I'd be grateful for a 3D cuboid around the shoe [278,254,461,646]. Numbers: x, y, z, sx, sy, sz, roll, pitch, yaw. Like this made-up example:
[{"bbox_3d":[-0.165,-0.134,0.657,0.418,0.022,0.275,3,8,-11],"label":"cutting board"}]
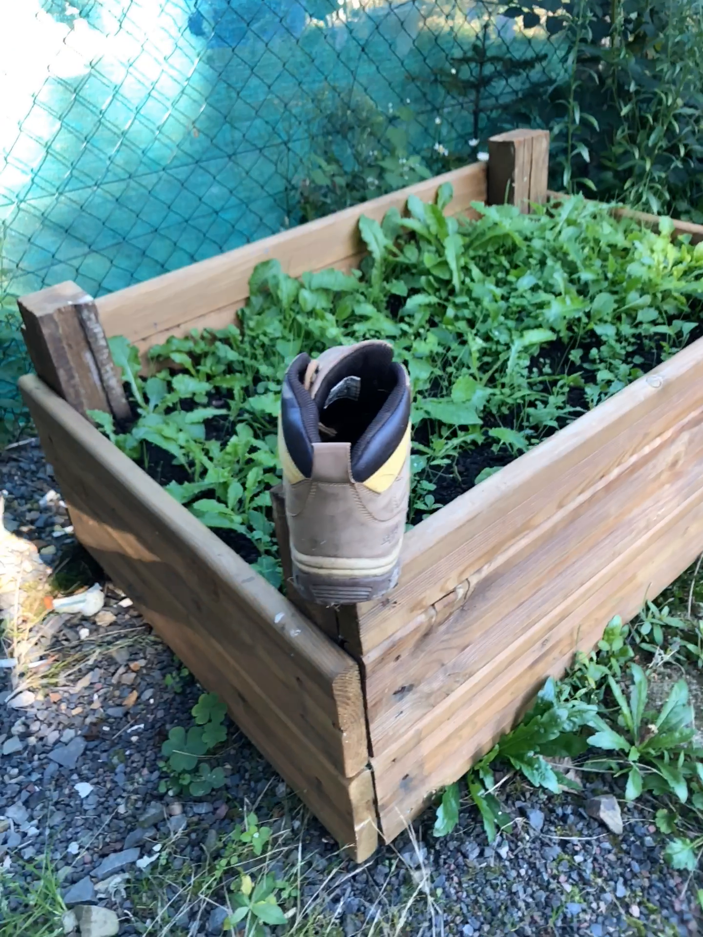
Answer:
[{"bbox_3d":[0.009,-0.031,0.580,0.100,0.149,0.282,-4,38,0],"label":"shoe"}]
